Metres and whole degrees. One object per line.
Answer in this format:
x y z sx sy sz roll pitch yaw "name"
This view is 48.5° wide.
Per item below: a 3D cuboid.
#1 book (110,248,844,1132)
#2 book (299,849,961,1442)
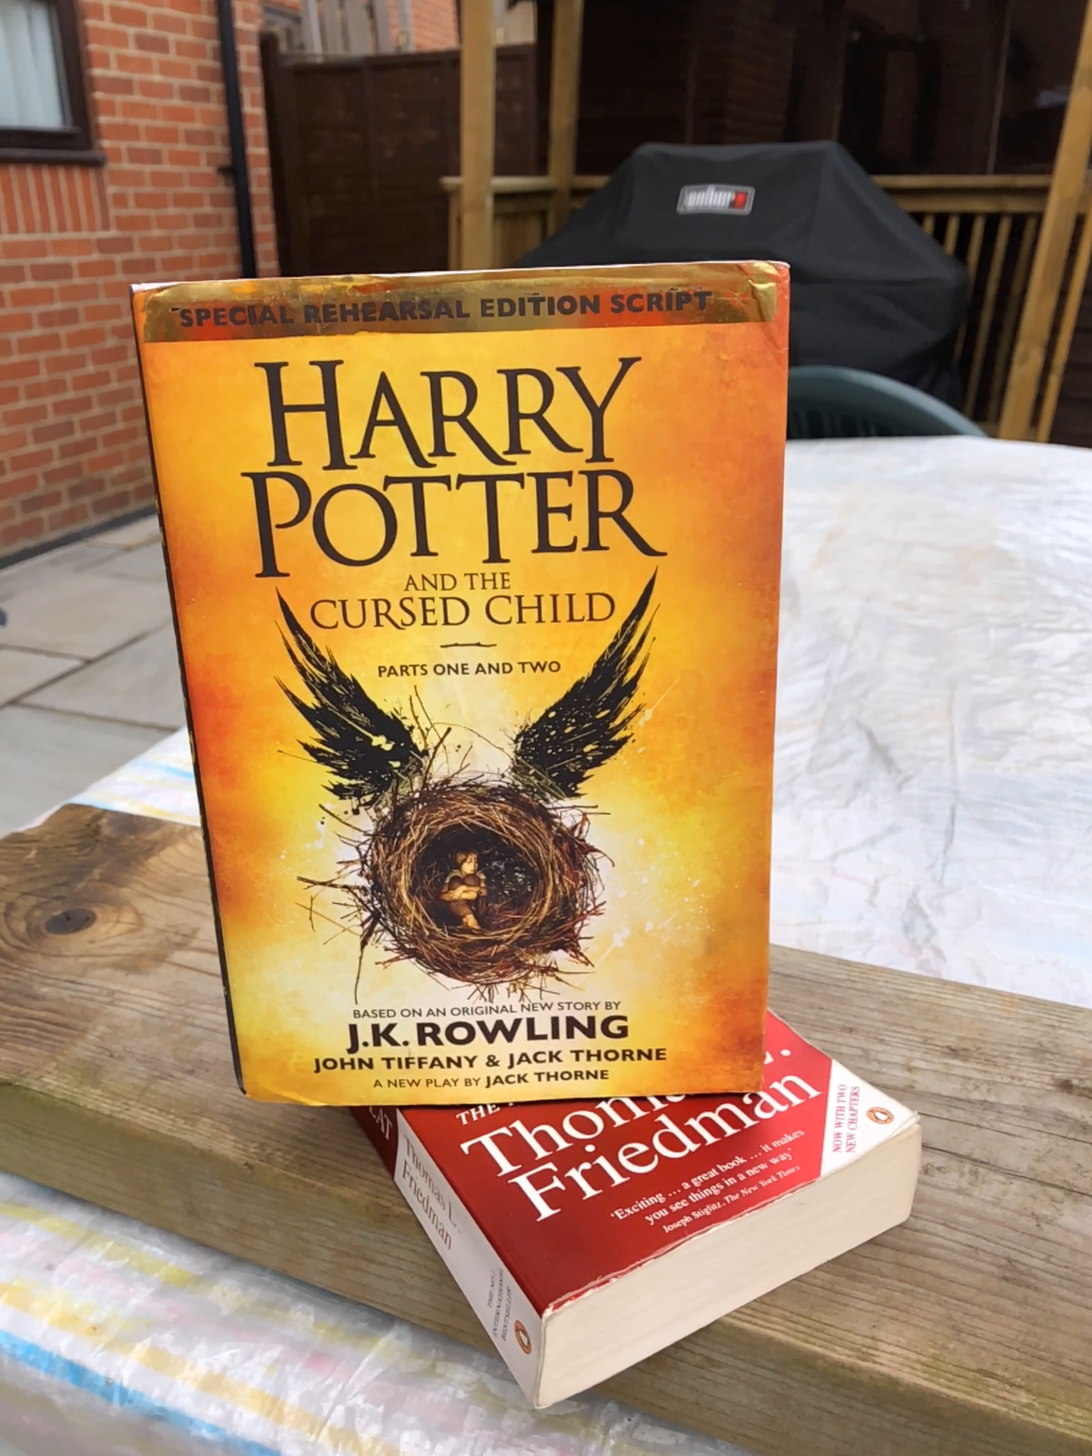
-0.016 -0.004 0.336 0.170 0.239 0.040 1 18 2 "book"
0.014 0.111 0.394 0.130 0.040 0.191 -12 25 -26 "book"
